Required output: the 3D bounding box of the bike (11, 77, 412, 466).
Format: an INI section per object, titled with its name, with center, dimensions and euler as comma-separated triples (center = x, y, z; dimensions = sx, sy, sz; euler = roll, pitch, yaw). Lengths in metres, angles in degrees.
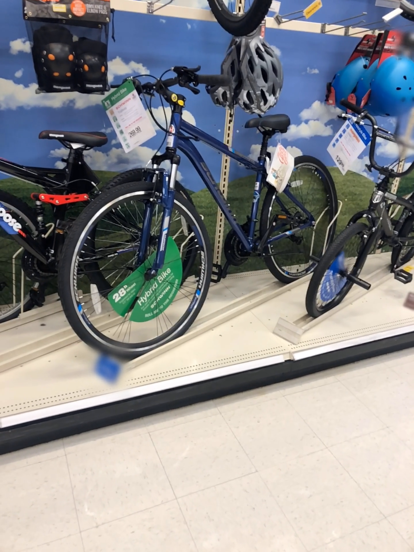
[bike]
center = 0.155, -0.234, 1.993
dimensions = 0.531, 1.098, 1.742
euler = 26, 35, 38
